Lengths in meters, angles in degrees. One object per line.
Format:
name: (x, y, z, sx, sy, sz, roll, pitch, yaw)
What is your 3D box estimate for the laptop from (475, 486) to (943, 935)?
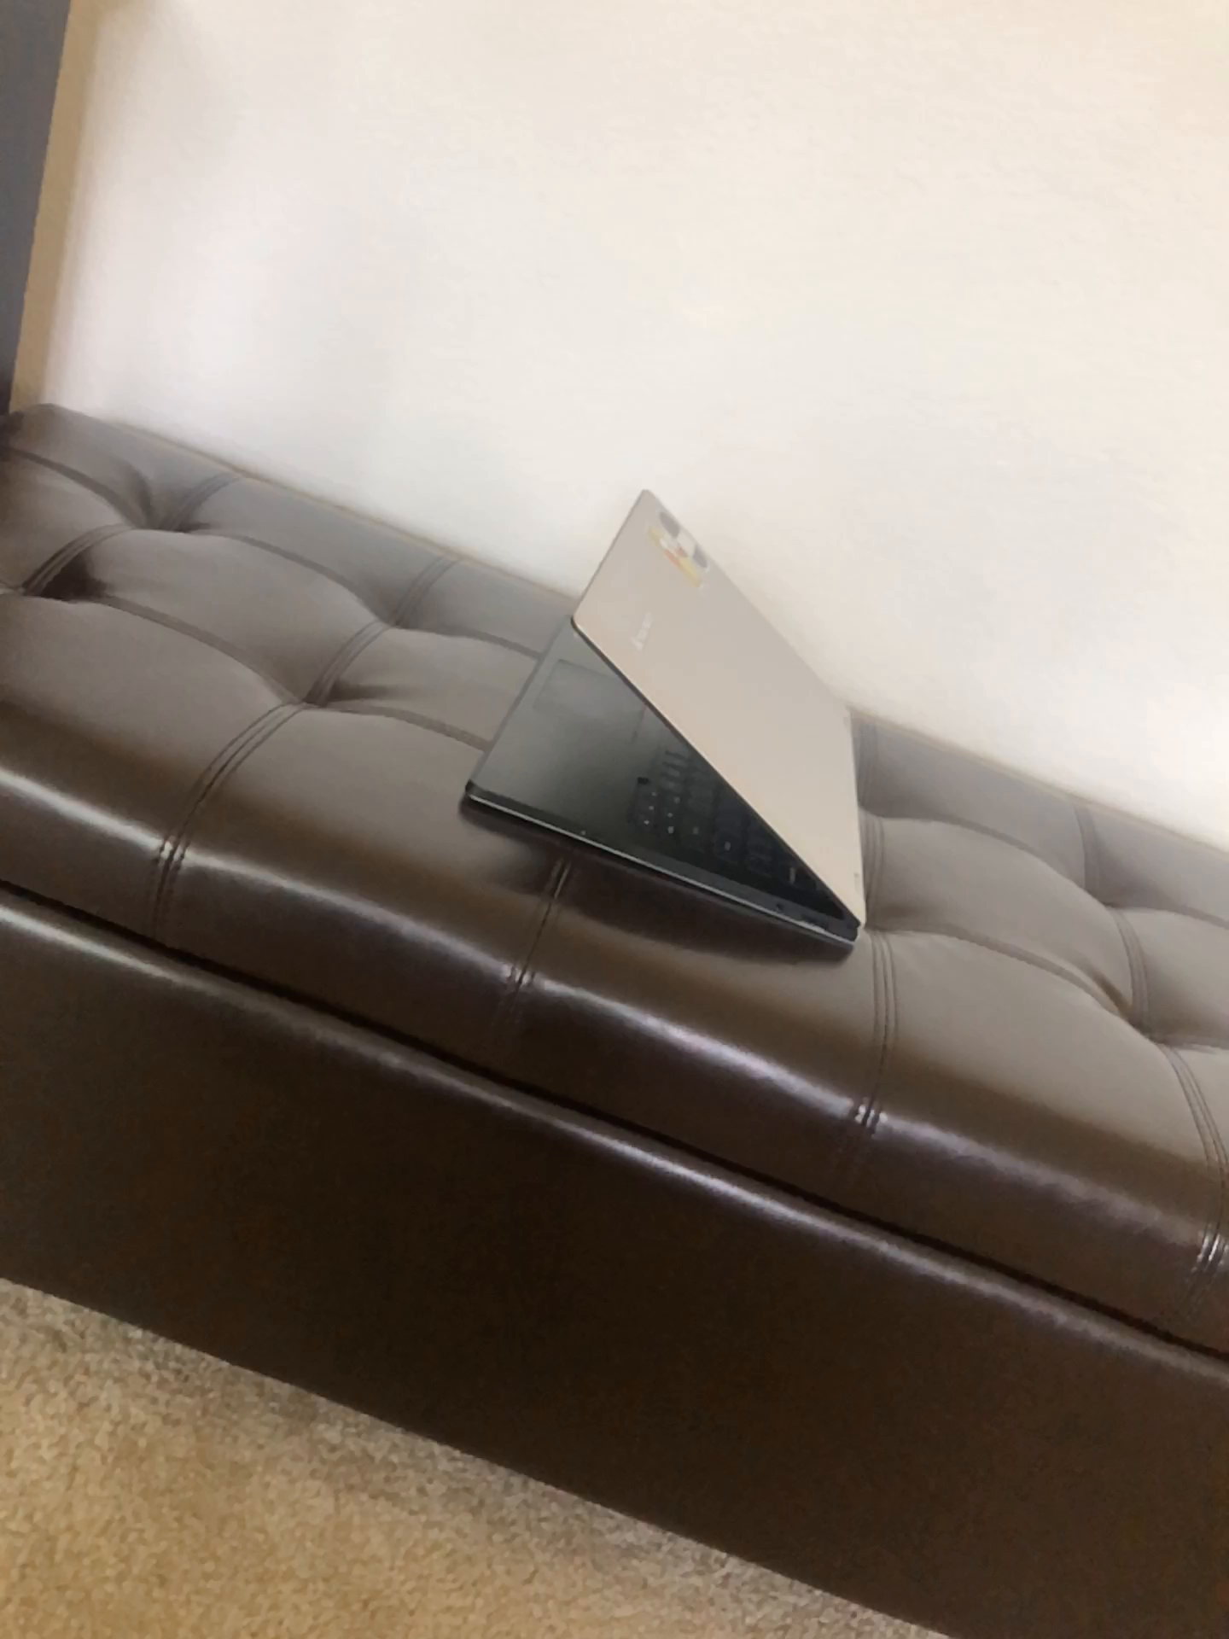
laptop: (0.060, -0.080, 0.771, 0.197, 0.097, 0.294, 20, 25, -1)
